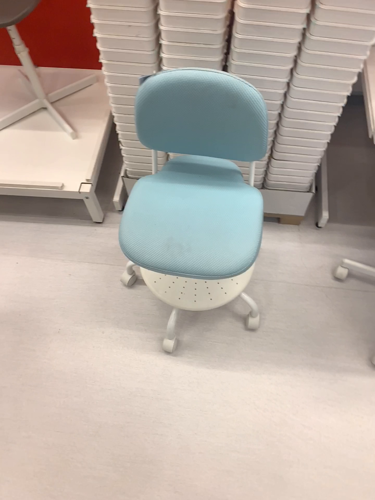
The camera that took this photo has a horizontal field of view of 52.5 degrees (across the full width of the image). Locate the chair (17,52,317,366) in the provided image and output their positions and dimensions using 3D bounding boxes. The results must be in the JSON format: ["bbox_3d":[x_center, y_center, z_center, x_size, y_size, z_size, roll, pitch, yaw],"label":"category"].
[{"bbox_3d":[0.002,-0.068,1.189,0.570,0.748,0.611,5,60,5],"label":"chair"}]
